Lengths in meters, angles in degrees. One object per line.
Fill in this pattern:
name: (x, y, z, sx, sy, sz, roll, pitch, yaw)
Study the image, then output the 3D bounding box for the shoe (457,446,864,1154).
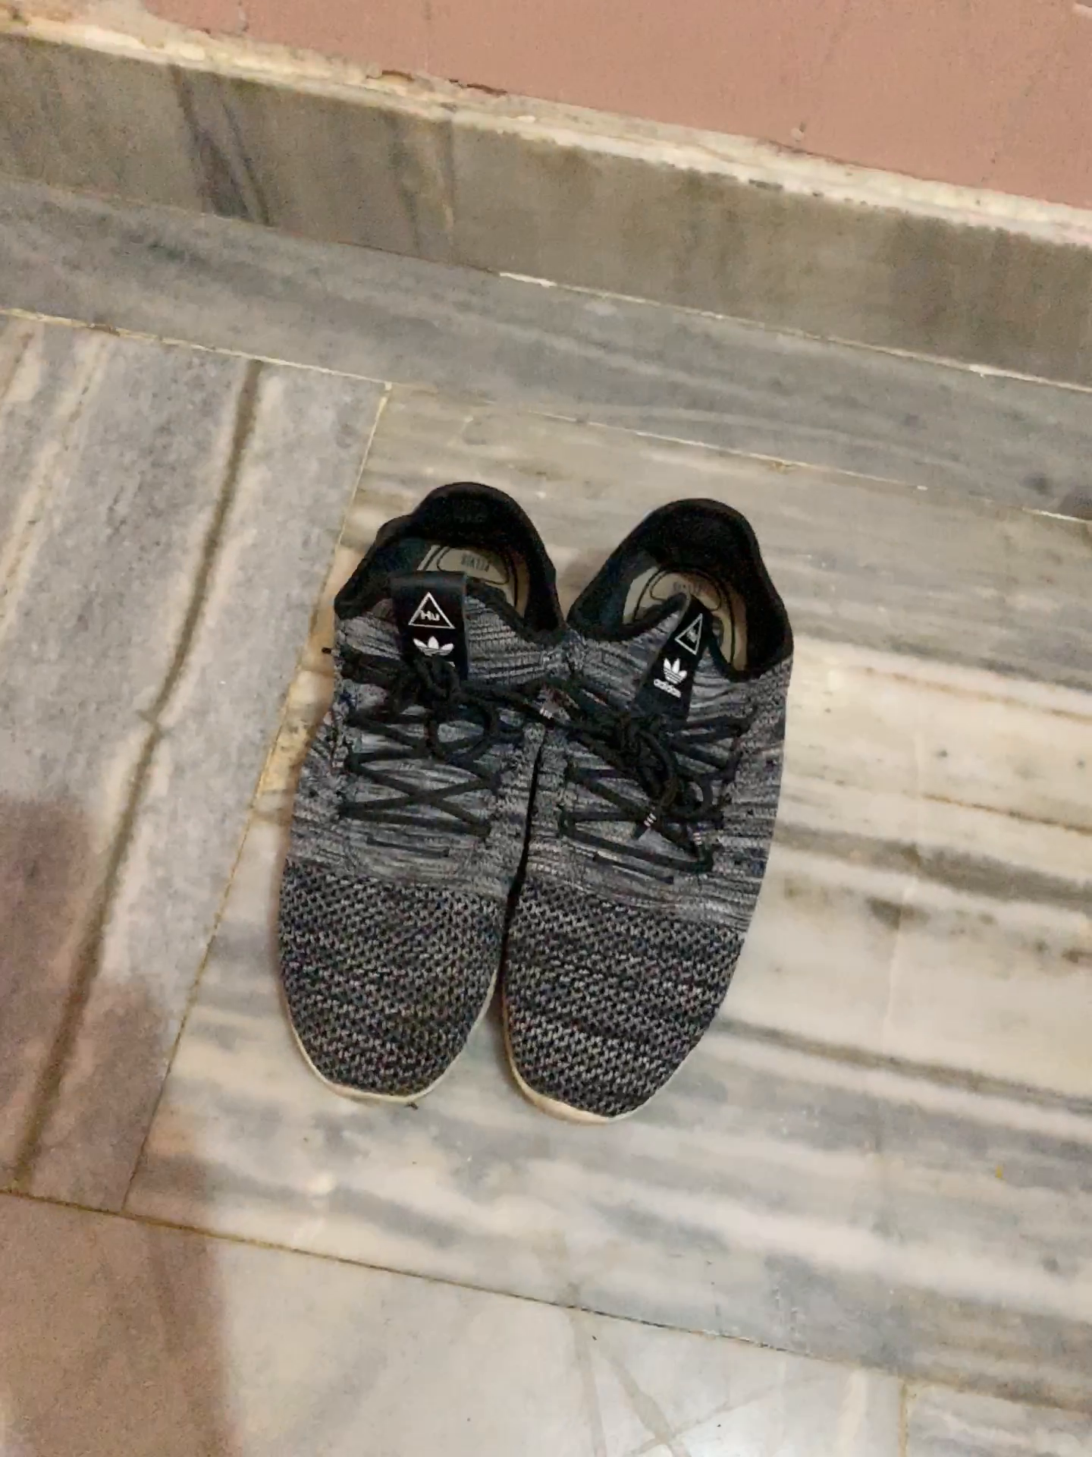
shoe: (0.058, 0.025, 0.521, 0.120, 0.080, 0.299, 14, 66, 2)

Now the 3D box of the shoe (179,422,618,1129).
shoe: (-0.054, 0.014, 0.516, 0.120, 0.080, 0.299, 11, 66, 0)
